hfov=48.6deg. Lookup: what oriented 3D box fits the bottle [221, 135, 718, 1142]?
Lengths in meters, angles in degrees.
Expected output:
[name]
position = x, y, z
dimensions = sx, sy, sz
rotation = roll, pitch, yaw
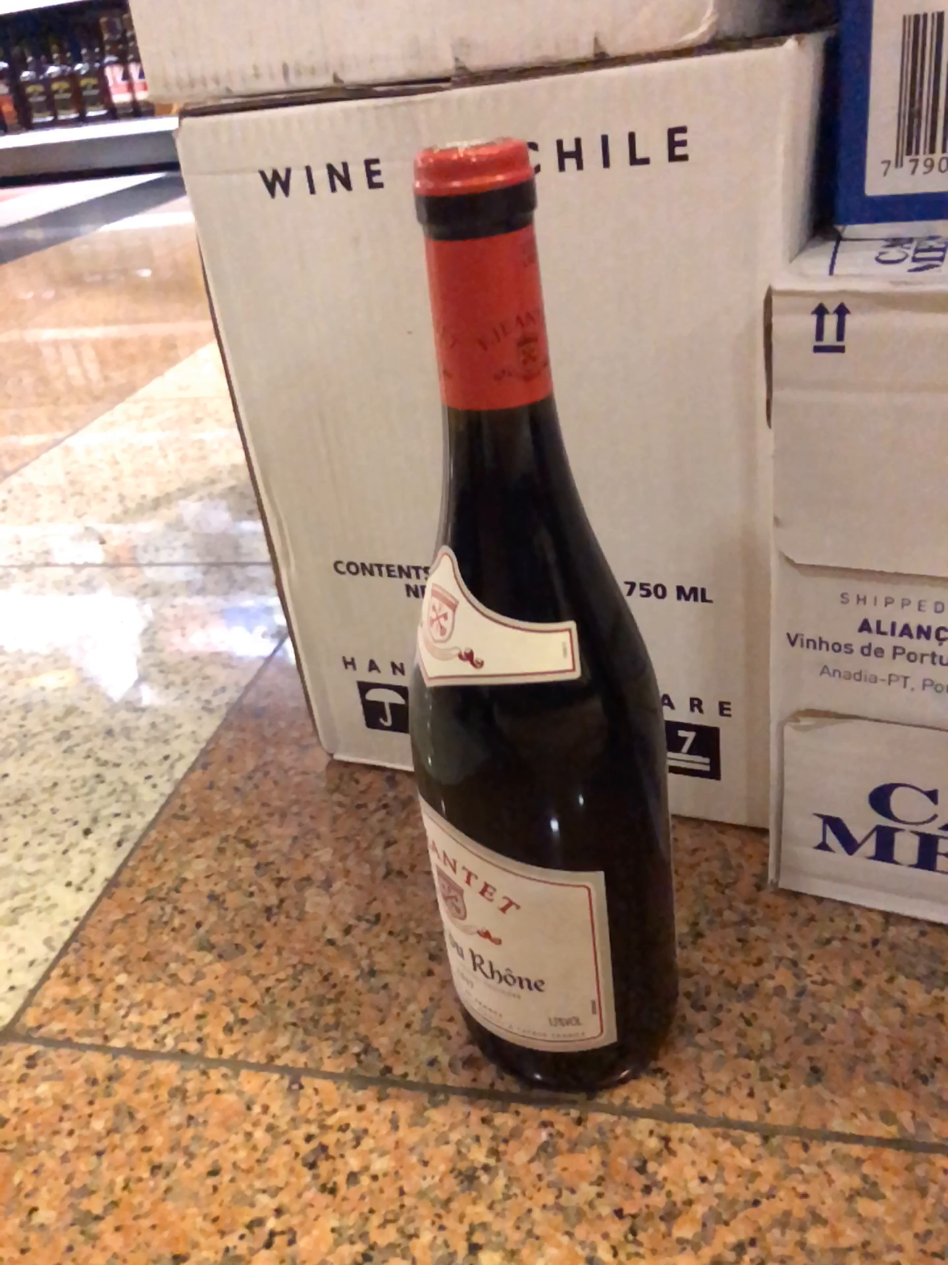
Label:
[bottle]
position = 0.012, 0.011, 0.325
dimensions = 0.080, 0.288, 0.090
rotation = -27, 34, -30
